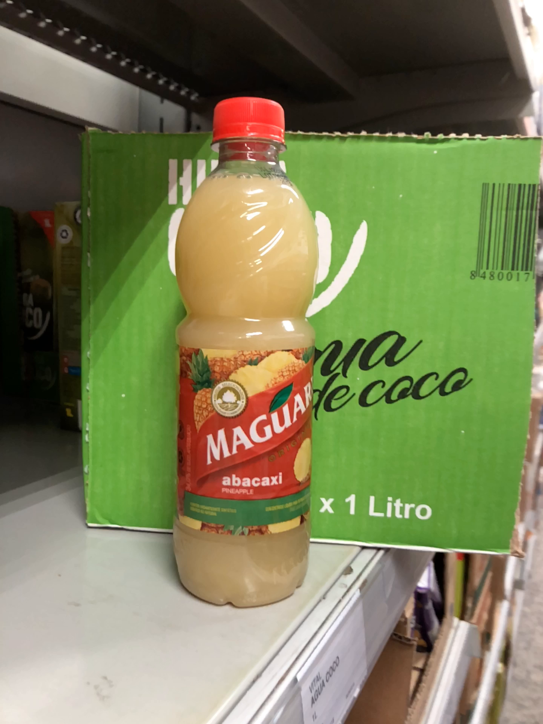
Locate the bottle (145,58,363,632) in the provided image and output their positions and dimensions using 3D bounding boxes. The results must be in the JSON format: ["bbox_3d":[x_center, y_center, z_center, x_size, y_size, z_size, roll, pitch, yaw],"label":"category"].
[{"bbox_3d":[-0.013,-0.005,0.260,0.070,0.209,0.060,-1,8,-22],"label":"bottle"}]
